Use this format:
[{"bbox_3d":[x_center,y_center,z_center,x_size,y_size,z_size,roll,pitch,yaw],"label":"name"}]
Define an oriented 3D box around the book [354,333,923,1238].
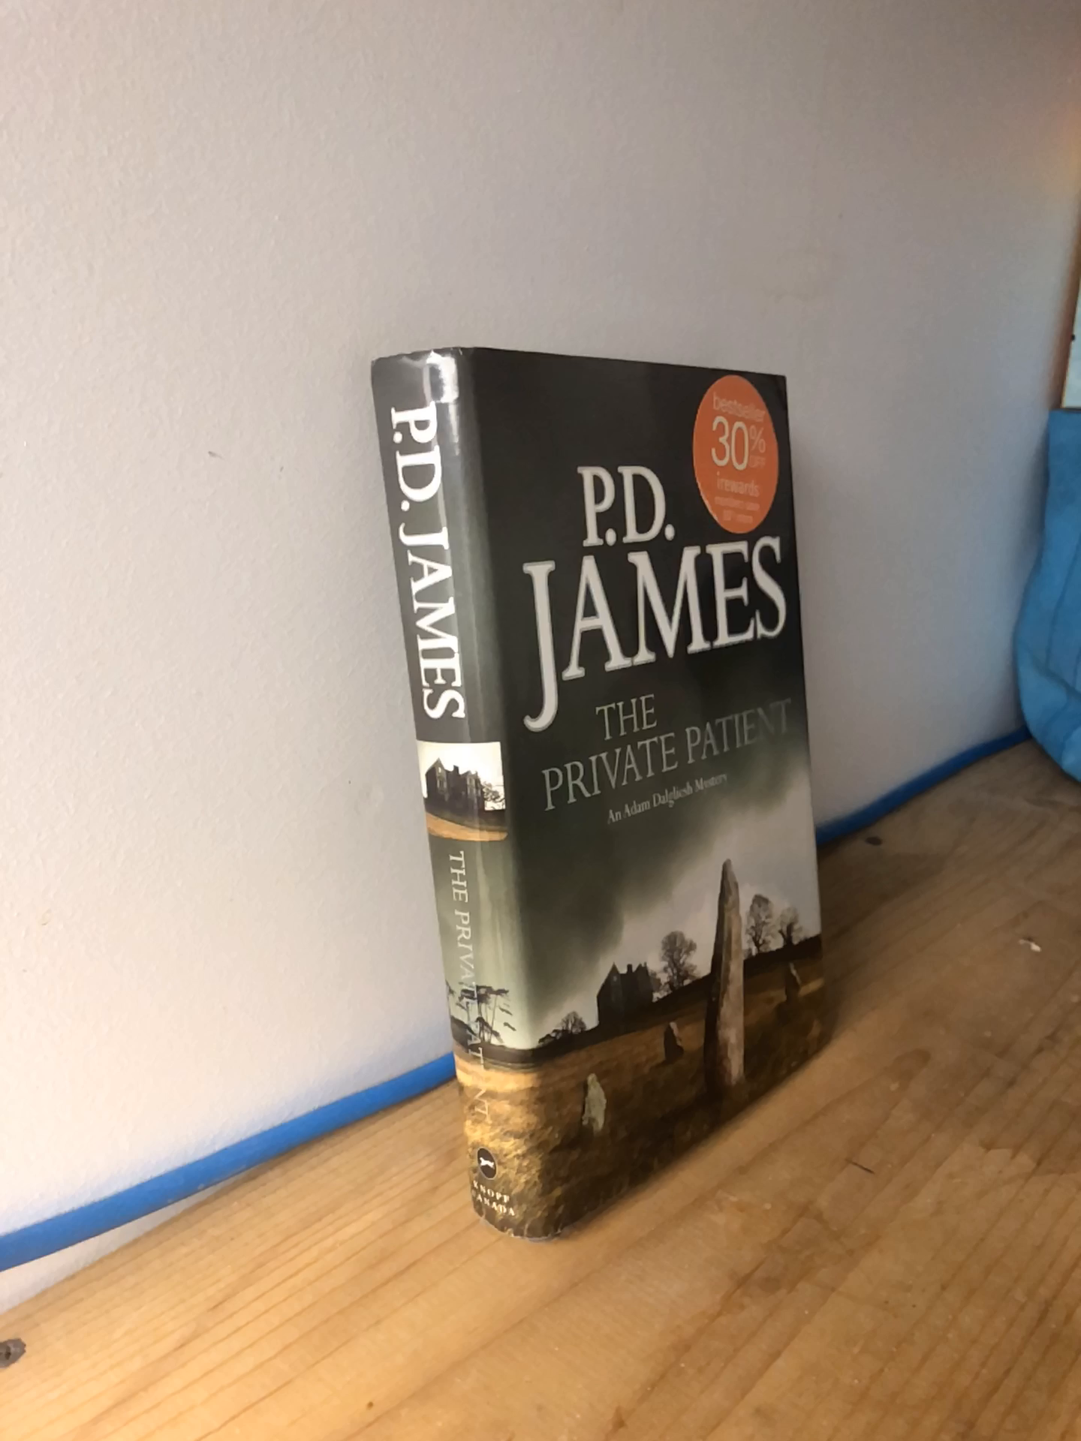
[{"bbox_3d":[0.045,0.004,0.371,0.180,0.230,0.040,-14,10,-41],"label":"book"}]
